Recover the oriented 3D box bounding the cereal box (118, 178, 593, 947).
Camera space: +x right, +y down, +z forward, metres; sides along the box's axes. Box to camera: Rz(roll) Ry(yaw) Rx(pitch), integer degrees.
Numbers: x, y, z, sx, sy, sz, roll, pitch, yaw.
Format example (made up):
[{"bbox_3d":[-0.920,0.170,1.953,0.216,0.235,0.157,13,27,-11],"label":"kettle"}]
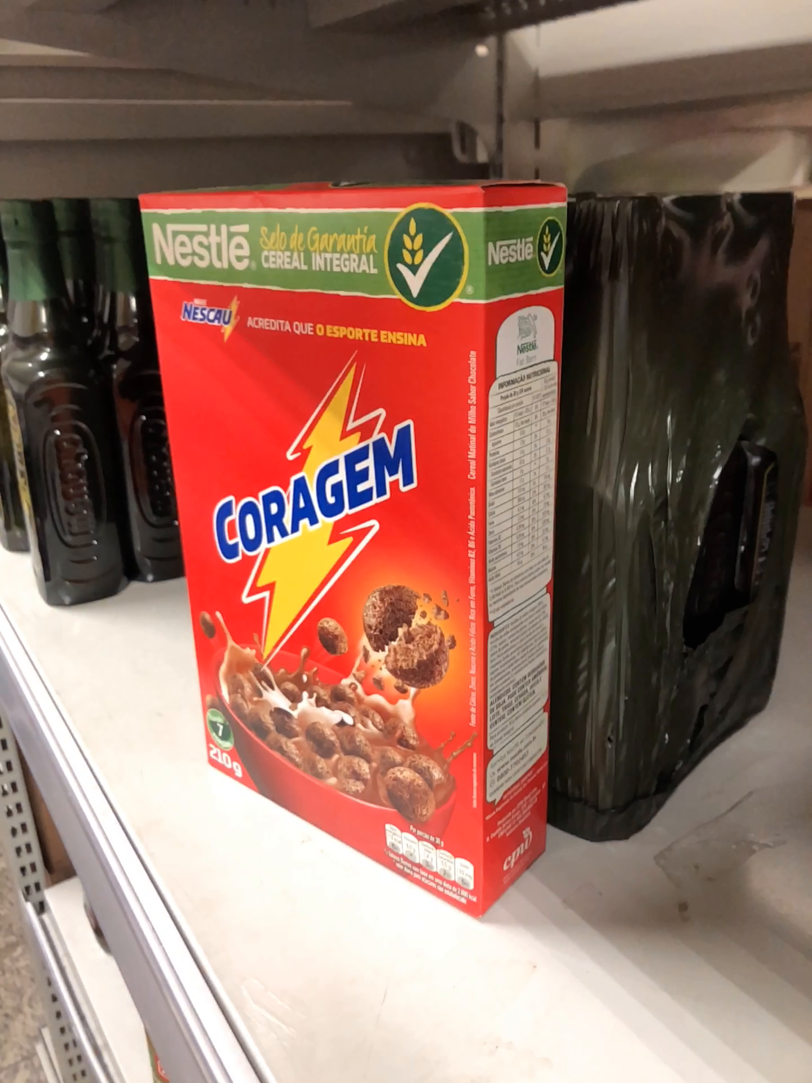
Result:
[{"bbox_3d":[-0.022,-0.003,0.349,0.170,0.248,0.060,16,26,40],"label":"cereal box"}]
